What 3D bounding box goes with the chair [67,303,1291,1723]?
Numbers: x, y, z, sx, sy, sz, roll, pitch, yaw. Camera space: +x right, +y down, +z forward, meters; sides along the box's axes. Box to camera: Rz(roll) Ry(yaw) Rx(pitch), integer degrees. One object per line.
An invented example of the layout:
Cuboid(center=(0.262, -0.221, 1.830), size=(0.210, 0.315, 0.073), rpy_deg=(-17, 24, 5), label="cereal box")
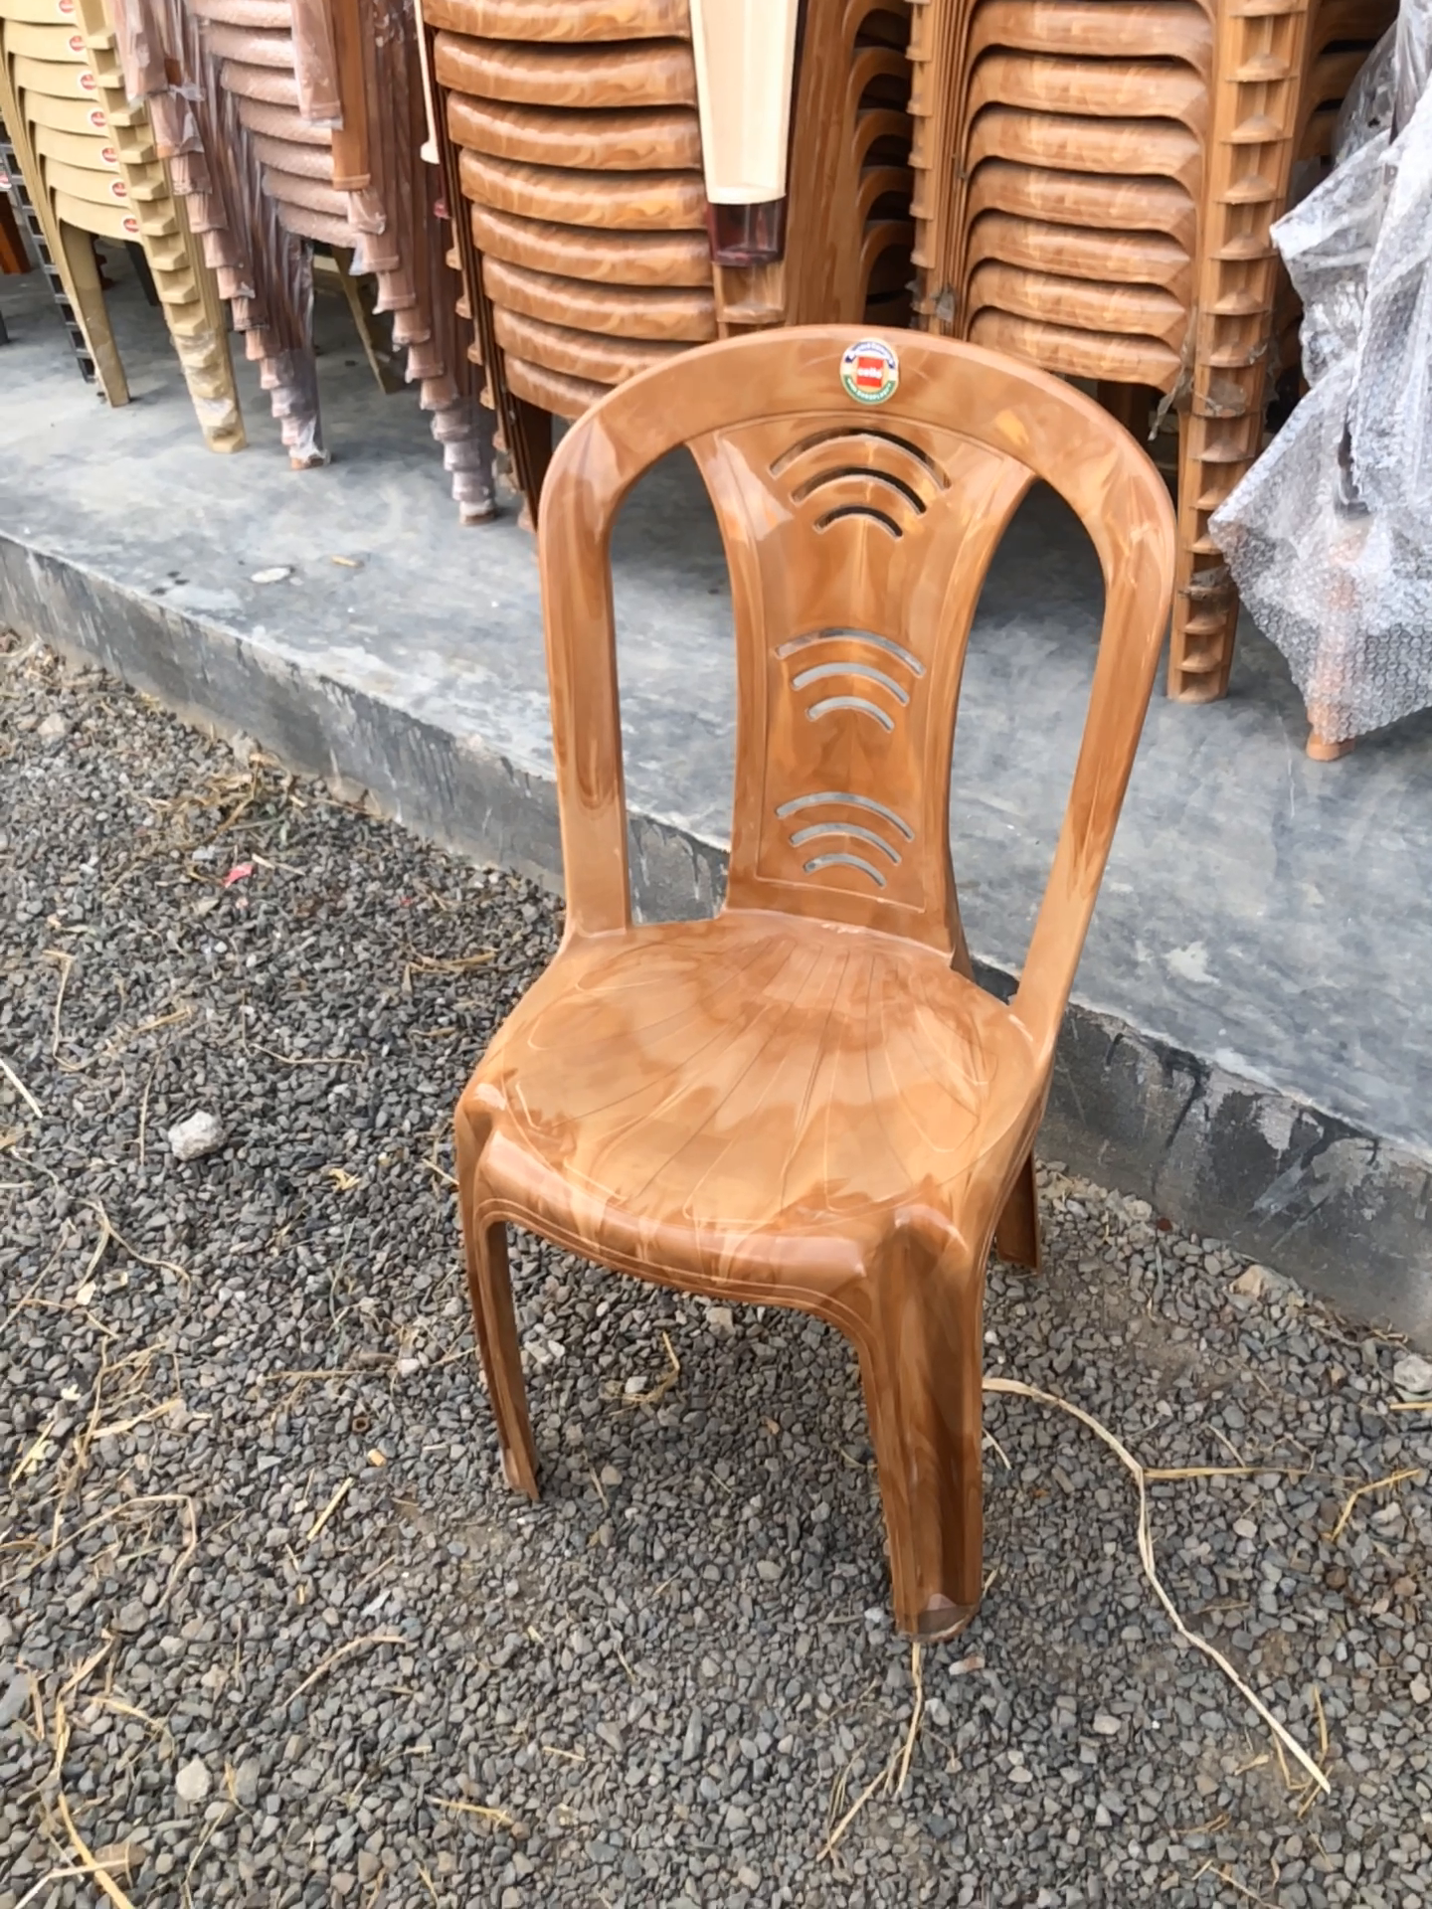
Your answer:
Cuboid(center=(0.048, 0.010, 1.168), size=(0.540, 0.766, 0.583), rpy_deg=(12, 40, 21), label="chair")
